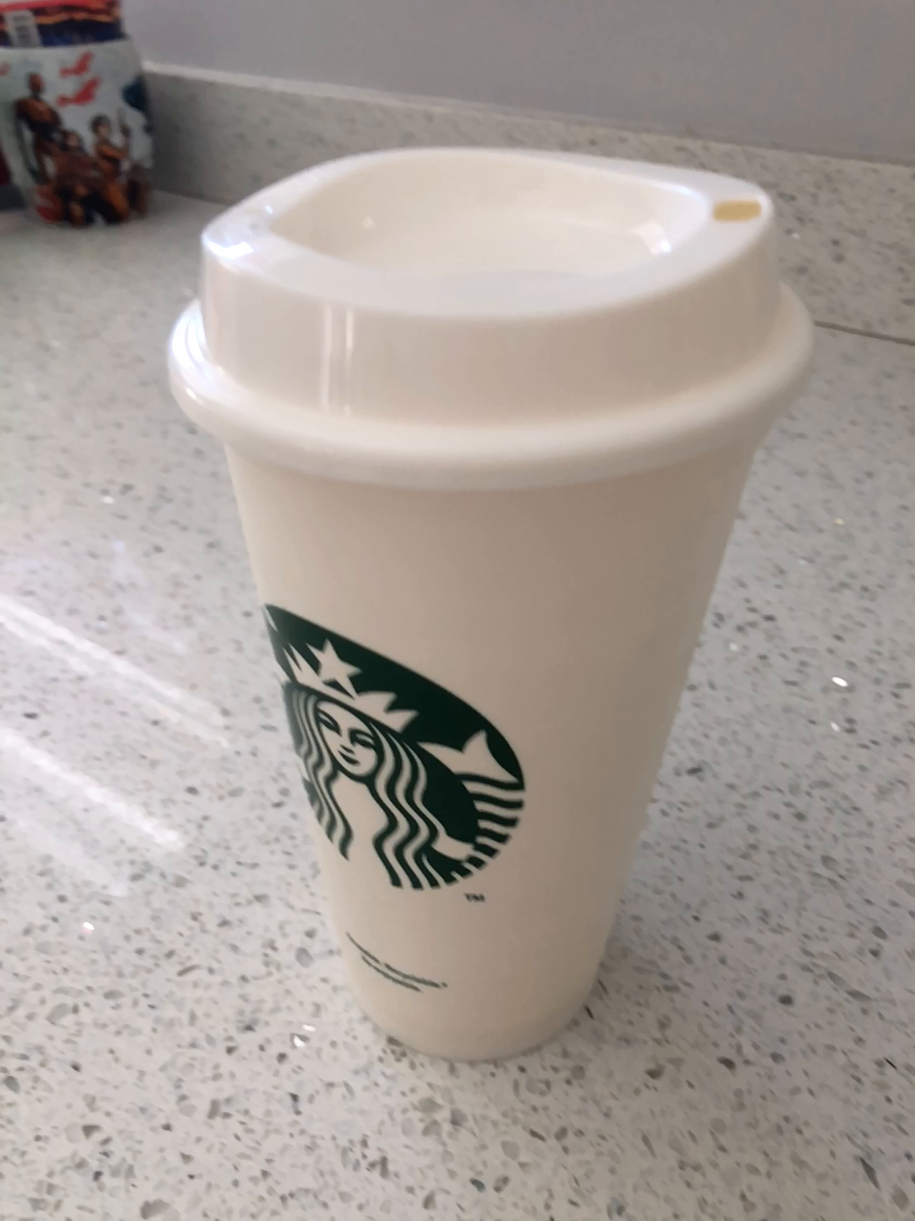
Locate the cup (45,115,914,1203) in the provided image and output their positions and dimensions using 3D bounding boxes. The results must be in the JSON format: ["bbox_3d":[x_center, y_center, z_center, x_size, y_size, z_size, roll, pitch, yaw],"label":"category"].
[{"bbox_3d":[0.010,0.002,0.178,0.090,0.139,0.090,0,35,0],"label":"cup"}]
